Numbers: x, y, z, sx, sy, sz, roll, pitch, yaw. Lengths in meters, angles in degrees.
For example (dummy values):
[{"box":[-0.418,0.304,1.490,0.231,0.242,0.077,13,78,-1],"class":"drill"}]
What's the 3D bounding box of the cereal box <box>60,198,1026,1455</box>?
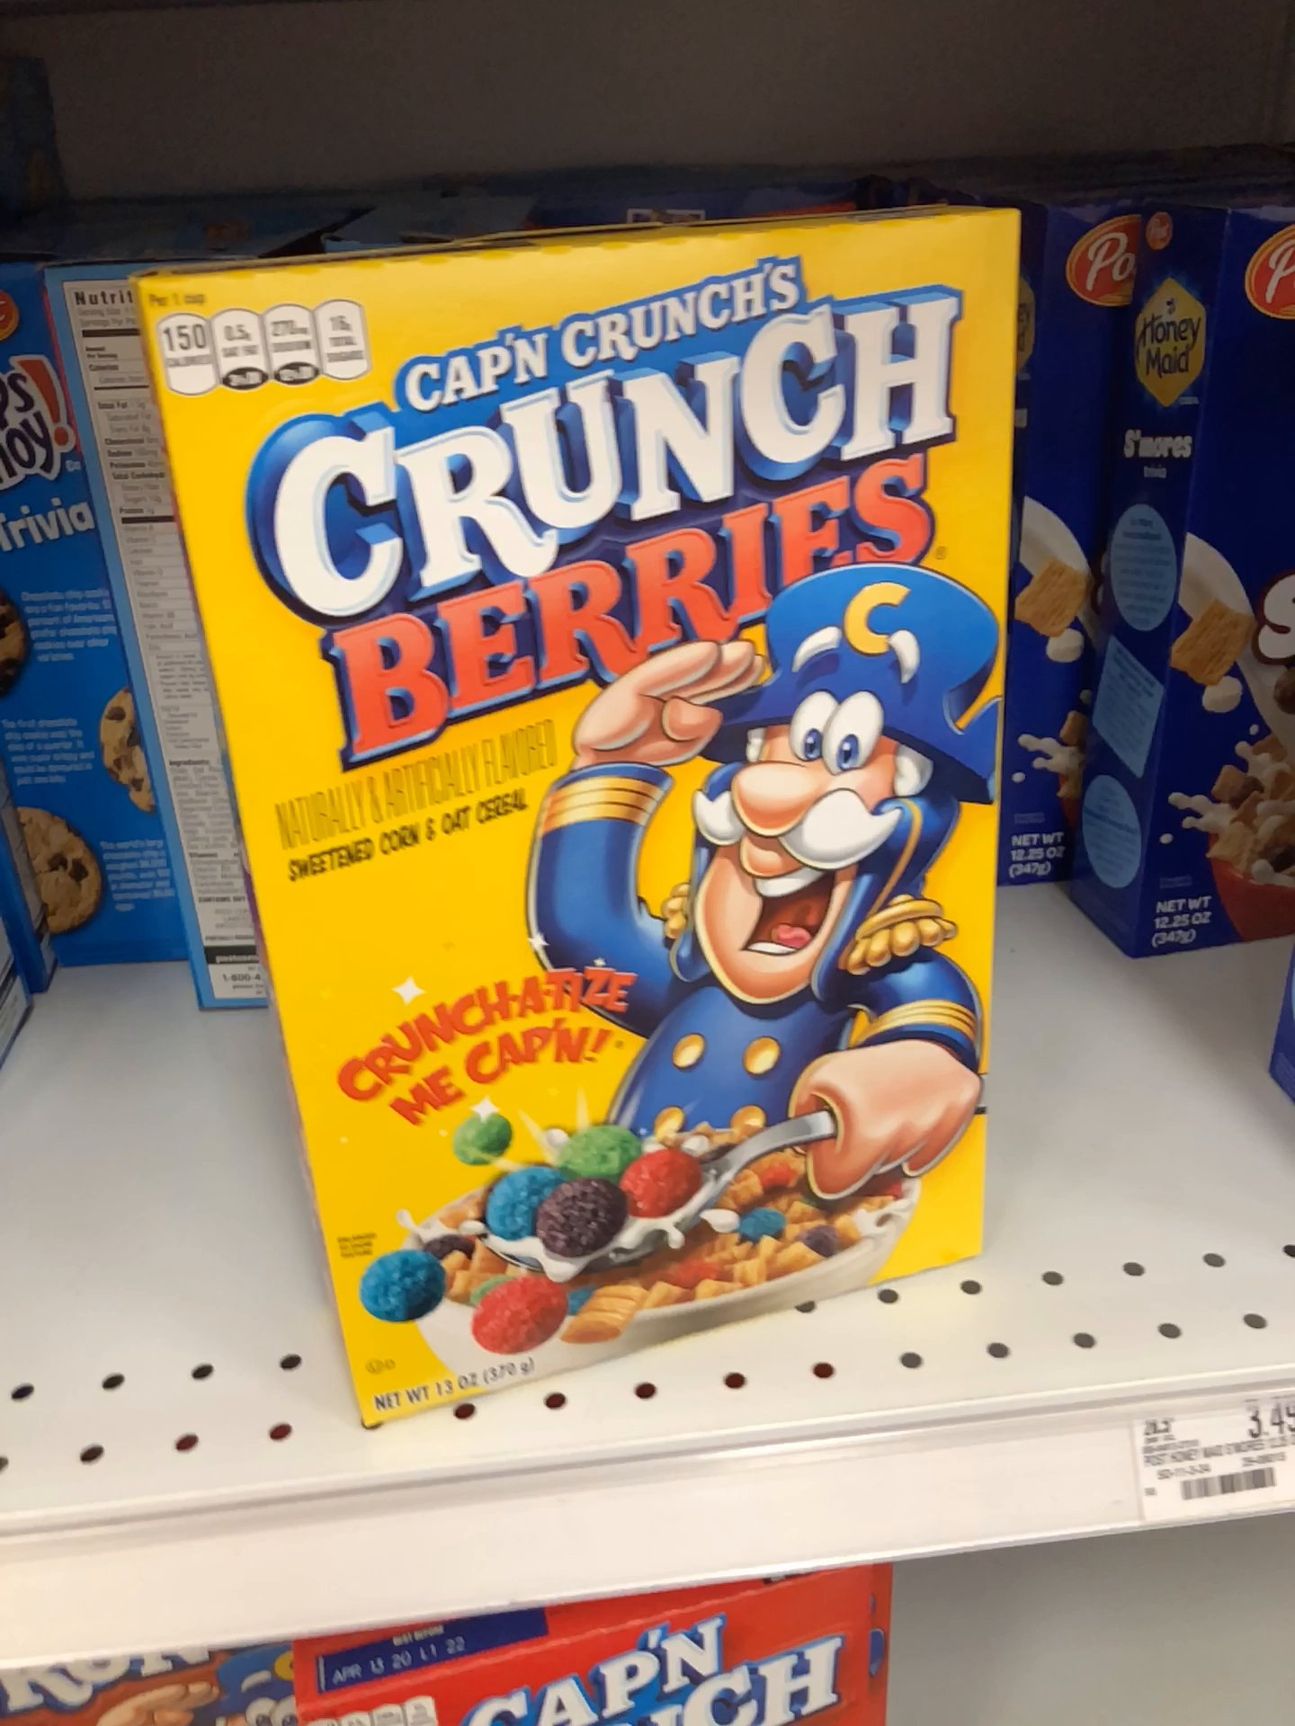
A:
[{"box":[-0.011,-0.005,0.372,0.200,0.289,0.060,-11,24,-14],"class":"cereal box"}]
